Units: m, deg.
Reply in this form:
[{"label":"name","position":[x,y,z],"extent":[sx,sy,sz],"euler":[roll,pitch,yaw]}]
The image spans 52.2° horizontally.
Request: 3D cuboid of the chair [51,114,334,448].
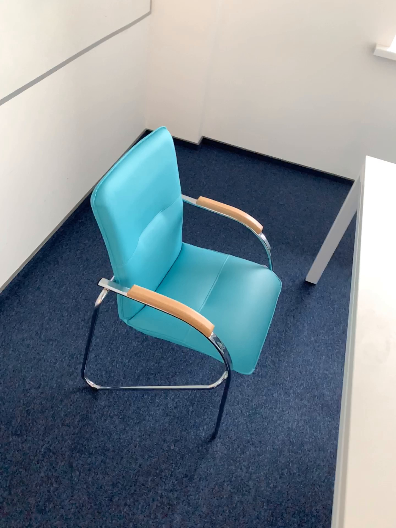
[{"label":"chair","position":[-0.030,0.093,1.489],"extent":[0.650,0.925,0.583],"euler":[21,46,9]}]
